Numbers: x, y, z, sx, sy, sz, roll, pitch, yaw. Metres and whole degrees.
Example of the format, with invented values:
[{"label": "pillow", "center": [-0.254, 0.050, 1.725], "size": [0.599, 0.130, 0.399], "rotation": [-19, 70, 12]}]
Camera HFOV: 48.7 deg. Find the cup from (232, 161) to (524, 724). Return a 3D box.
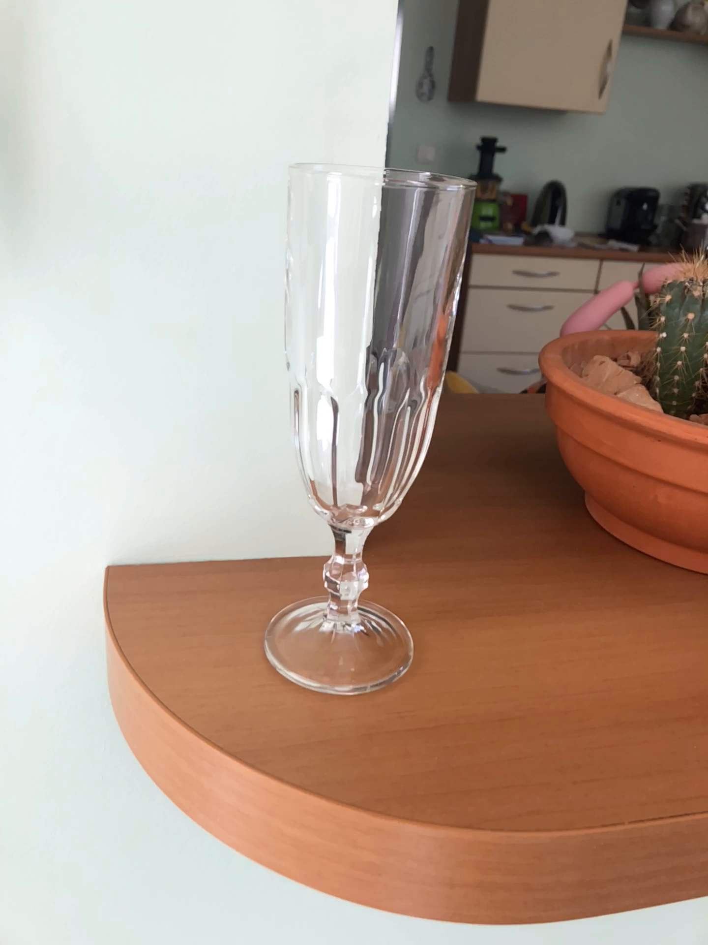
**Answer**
[{"label": "cup", "center": [0.005, -0.011, 0.264], "size": [0.070, 0.169, 0.060], "rotation": [11, 24, 14]}]
